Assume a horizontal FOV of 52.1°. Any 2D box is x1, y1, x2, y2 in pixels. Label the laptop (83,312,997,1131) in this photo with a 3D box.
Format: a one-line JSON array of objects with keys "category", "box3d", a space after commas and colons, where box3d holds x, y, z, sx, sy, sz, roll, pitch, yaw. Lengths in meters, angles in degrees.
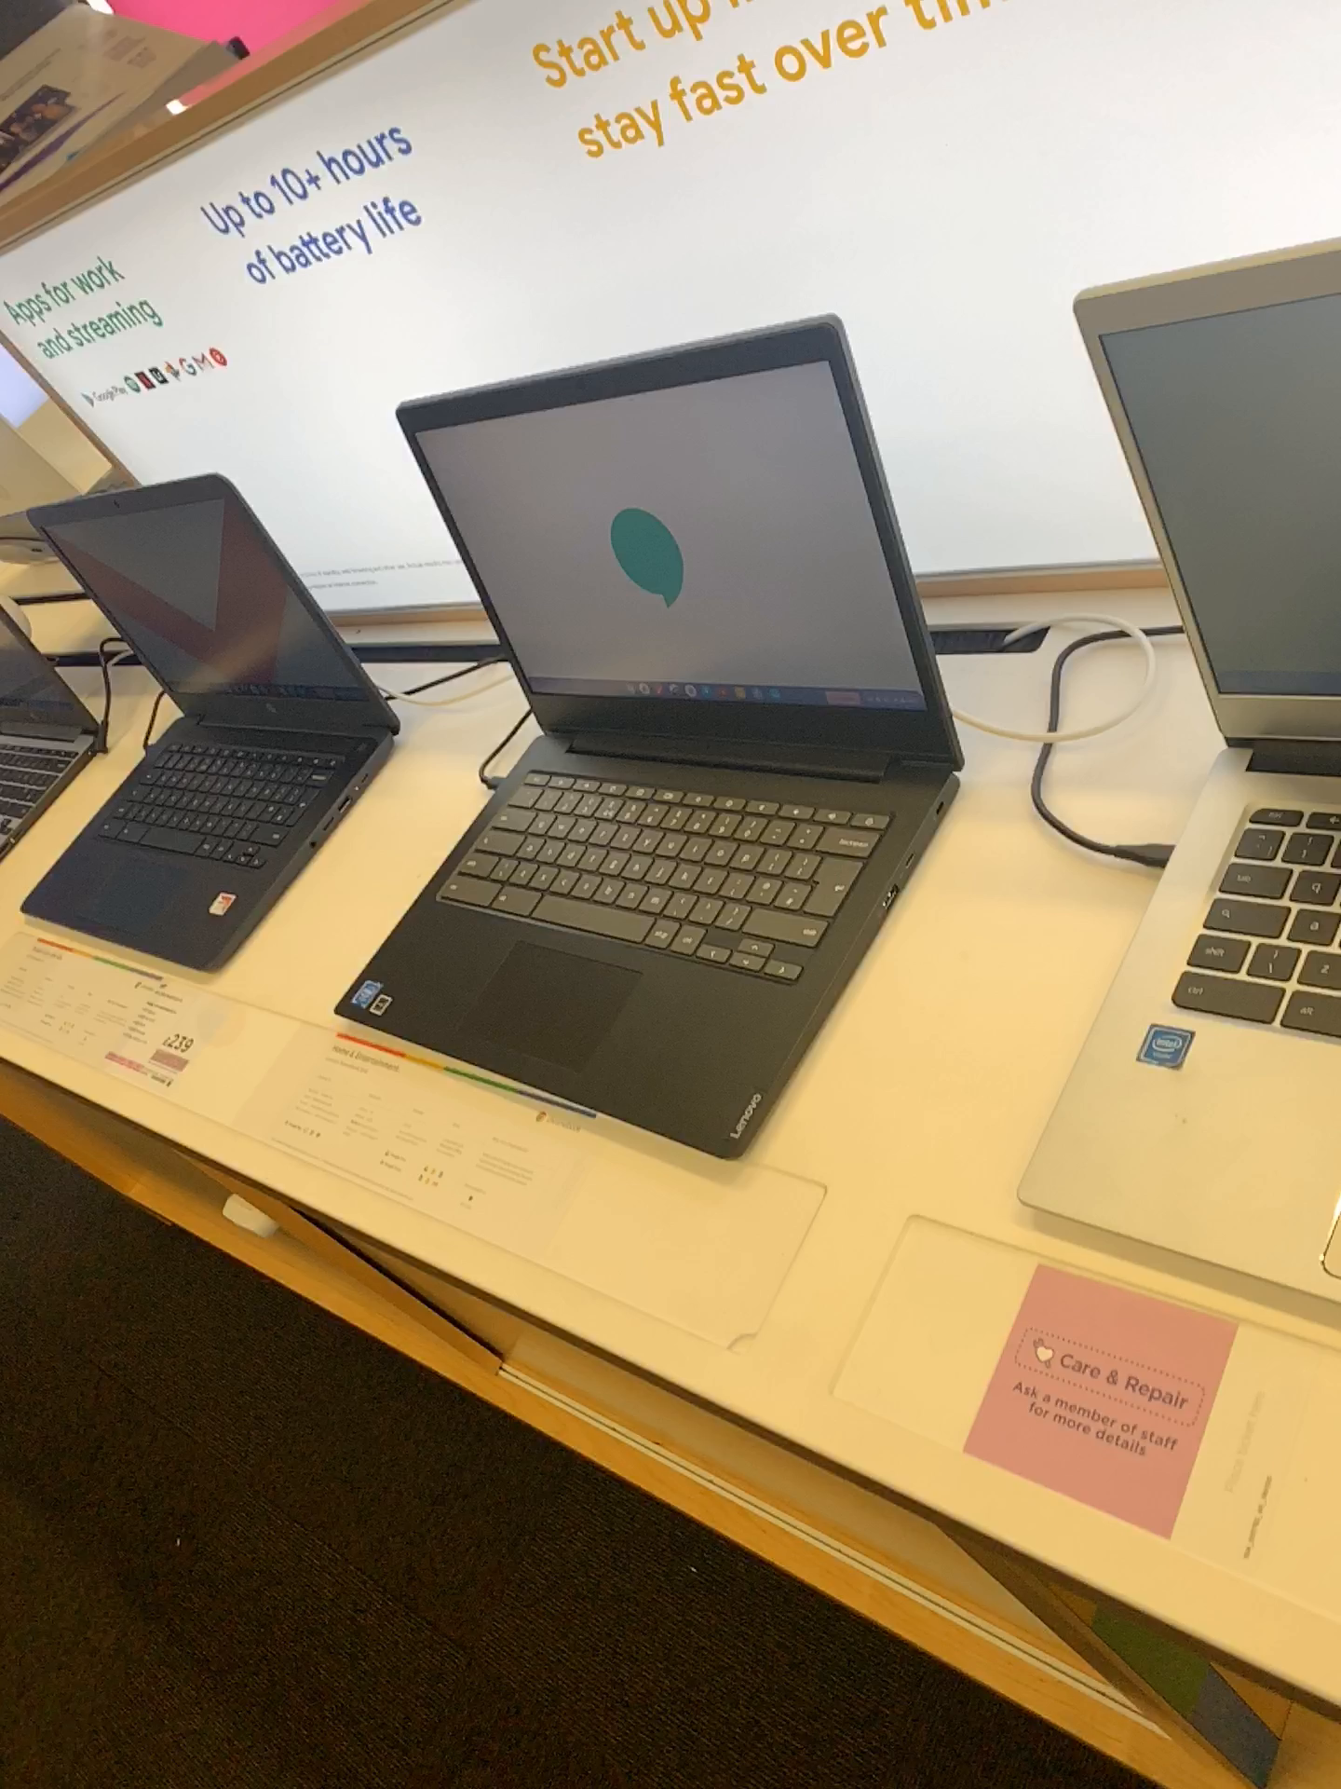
[{"category": "laptop", "box3d": [-0.065, -0.091, 0.695, 0.317, 0.201, 0.281, 10, 59, 44]}]
